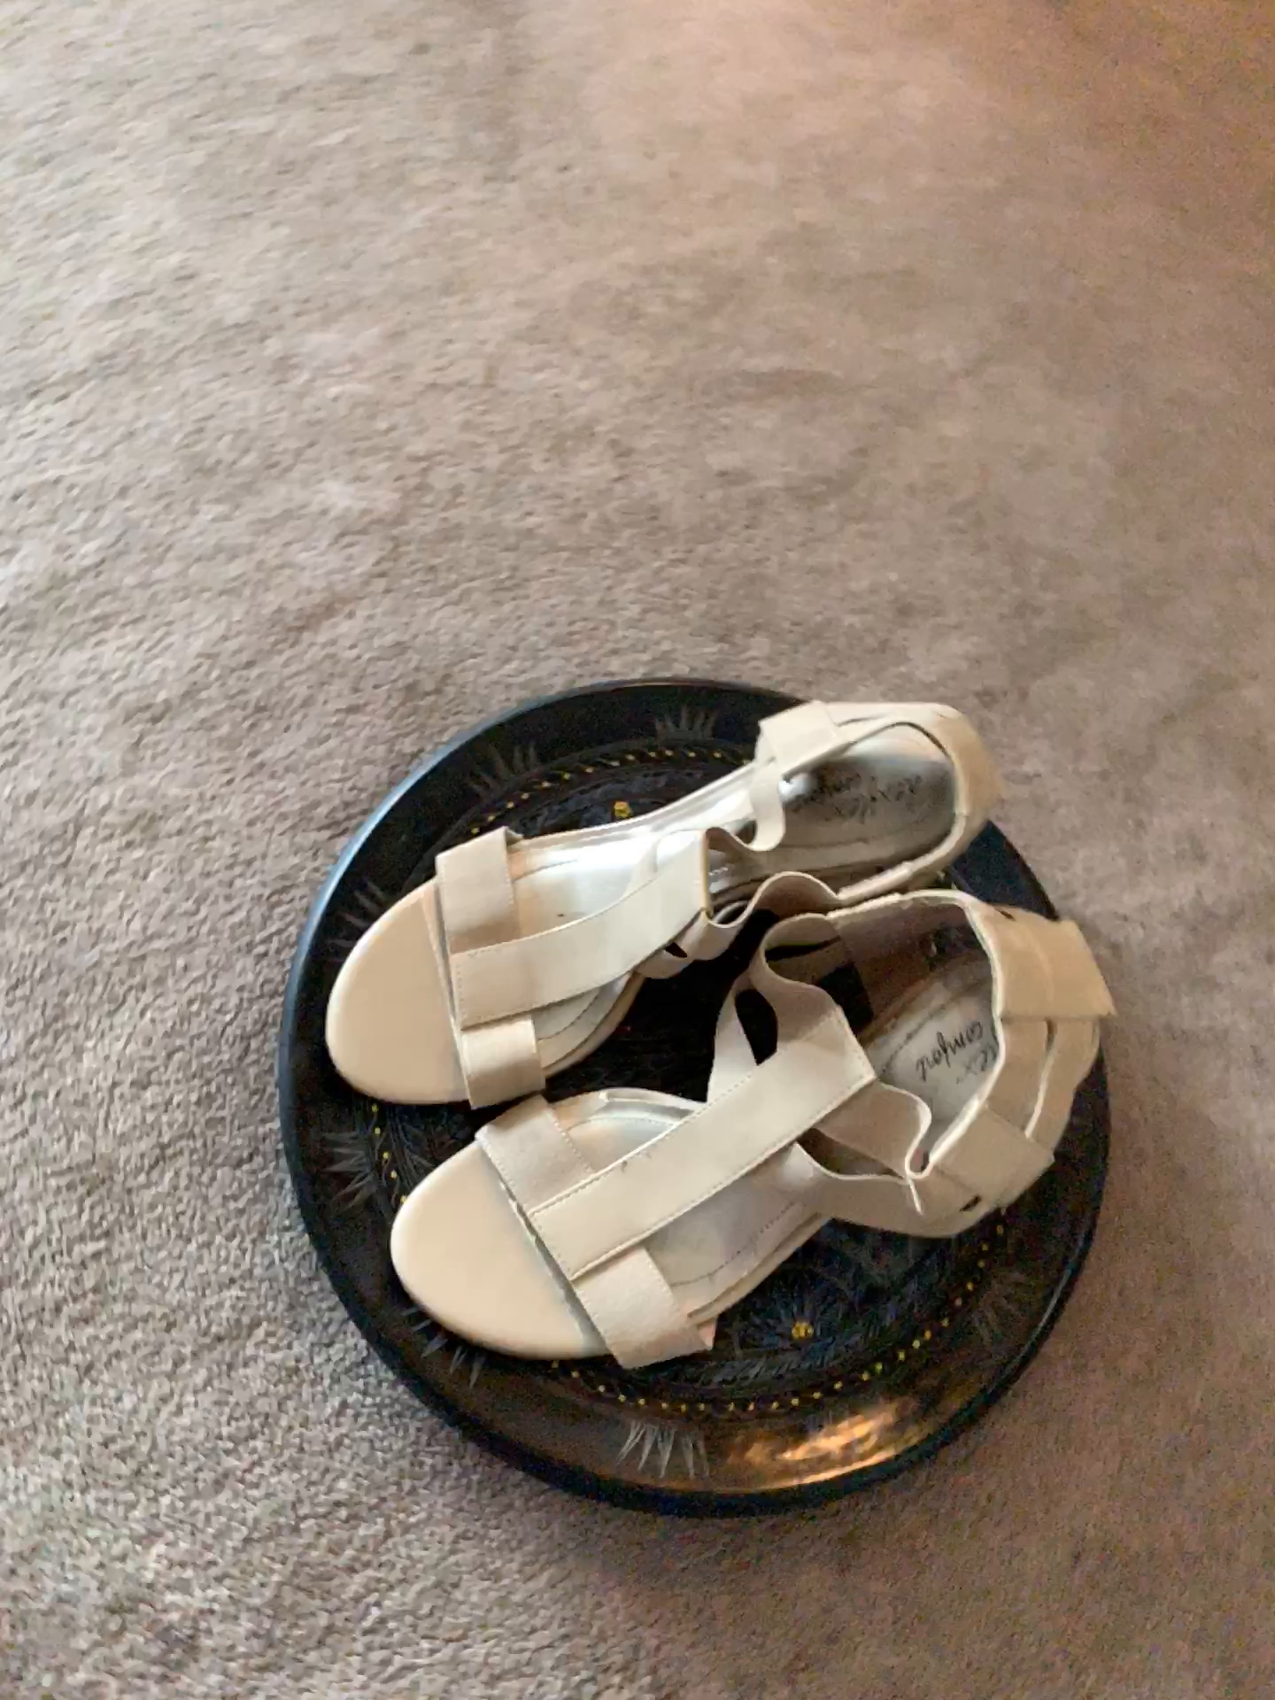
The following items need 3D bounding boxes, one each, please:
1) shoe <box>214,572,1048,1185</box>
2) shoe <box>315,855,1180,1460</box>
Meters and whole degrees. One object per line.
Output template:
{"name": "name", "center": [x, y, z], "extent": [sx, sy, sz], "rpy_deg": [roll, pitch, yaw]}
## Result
{"name": "shoe", "center": [-0.001, 0.013, 0.440], "extent": [0.230, 0.090, 0.100], "rpy_deg": [-24, 80, -1]}
{"name": "shoe", "center": [0.031, 0.095, 0.406], "extent": [0.220, 0.090, 0.090], "rpy_deg": [-21, 71, 0]}
